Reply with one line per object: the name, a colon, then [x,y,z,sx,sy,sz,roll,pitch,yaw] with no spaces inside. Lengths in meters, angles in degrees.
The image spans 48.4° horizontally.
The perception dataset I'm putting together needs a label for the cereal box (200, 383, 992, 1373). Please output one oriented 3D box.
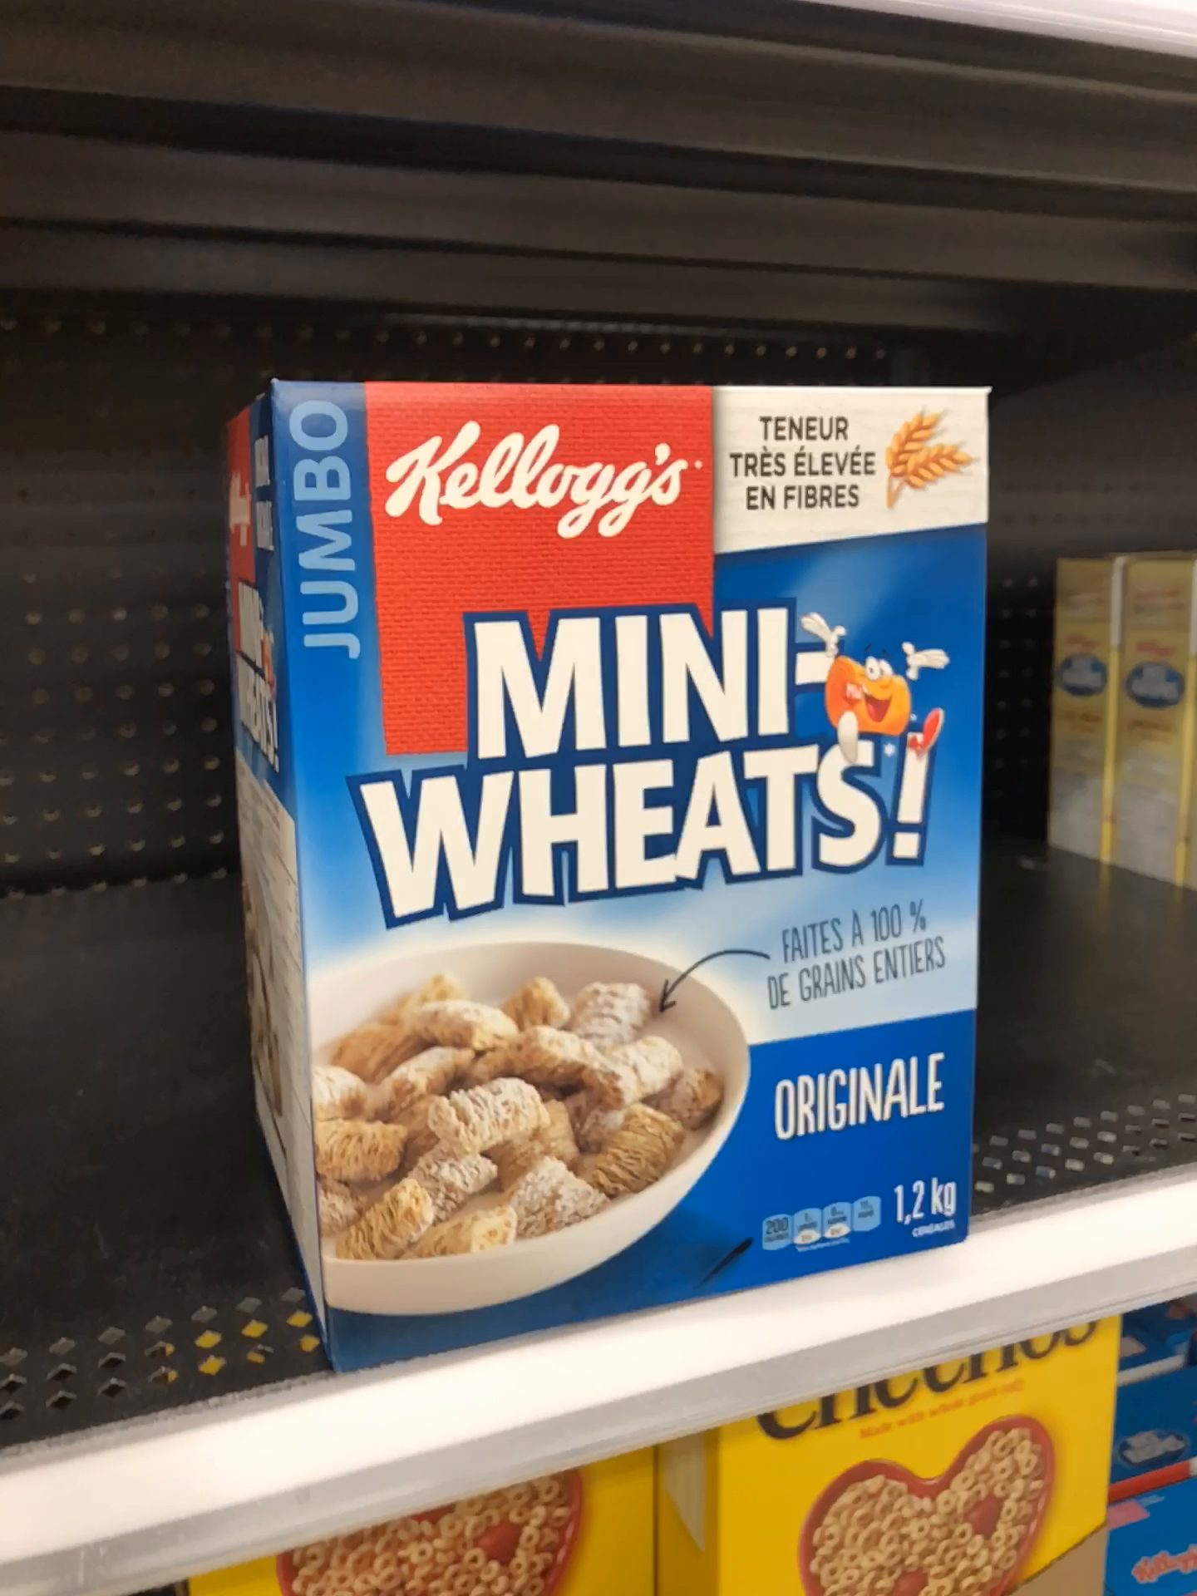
cereal box: [-0.013,0.004,0.436,0.200,0.249,0.171,-5,12,-19]
